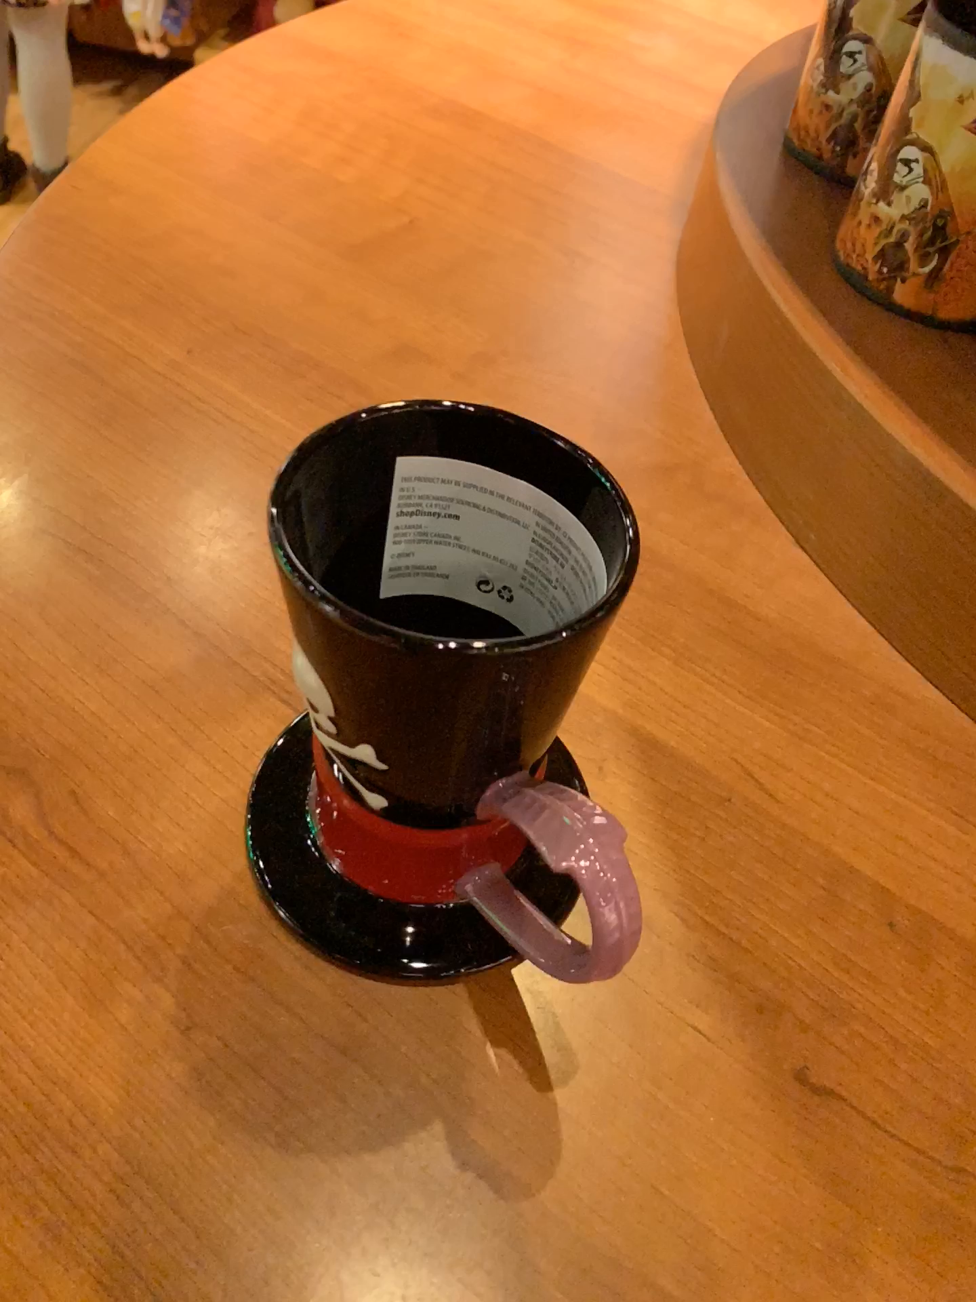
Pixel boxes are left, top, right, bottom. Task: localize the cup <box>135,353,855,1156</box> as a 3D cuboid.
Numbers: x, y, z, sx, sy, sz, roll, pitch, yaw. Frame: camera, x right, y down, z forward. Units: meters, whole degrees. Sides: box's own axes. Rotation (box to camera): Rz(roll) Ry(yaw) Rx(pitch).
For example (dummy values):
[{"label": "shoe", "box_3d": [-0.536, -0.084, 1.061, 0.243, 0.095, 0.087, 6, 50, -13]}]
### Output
[{"label": "cup", "box_3d": [-0.011, 0.027, 0.278, 0.110, 0.144, 0.134, -20, 55, -23]}]
